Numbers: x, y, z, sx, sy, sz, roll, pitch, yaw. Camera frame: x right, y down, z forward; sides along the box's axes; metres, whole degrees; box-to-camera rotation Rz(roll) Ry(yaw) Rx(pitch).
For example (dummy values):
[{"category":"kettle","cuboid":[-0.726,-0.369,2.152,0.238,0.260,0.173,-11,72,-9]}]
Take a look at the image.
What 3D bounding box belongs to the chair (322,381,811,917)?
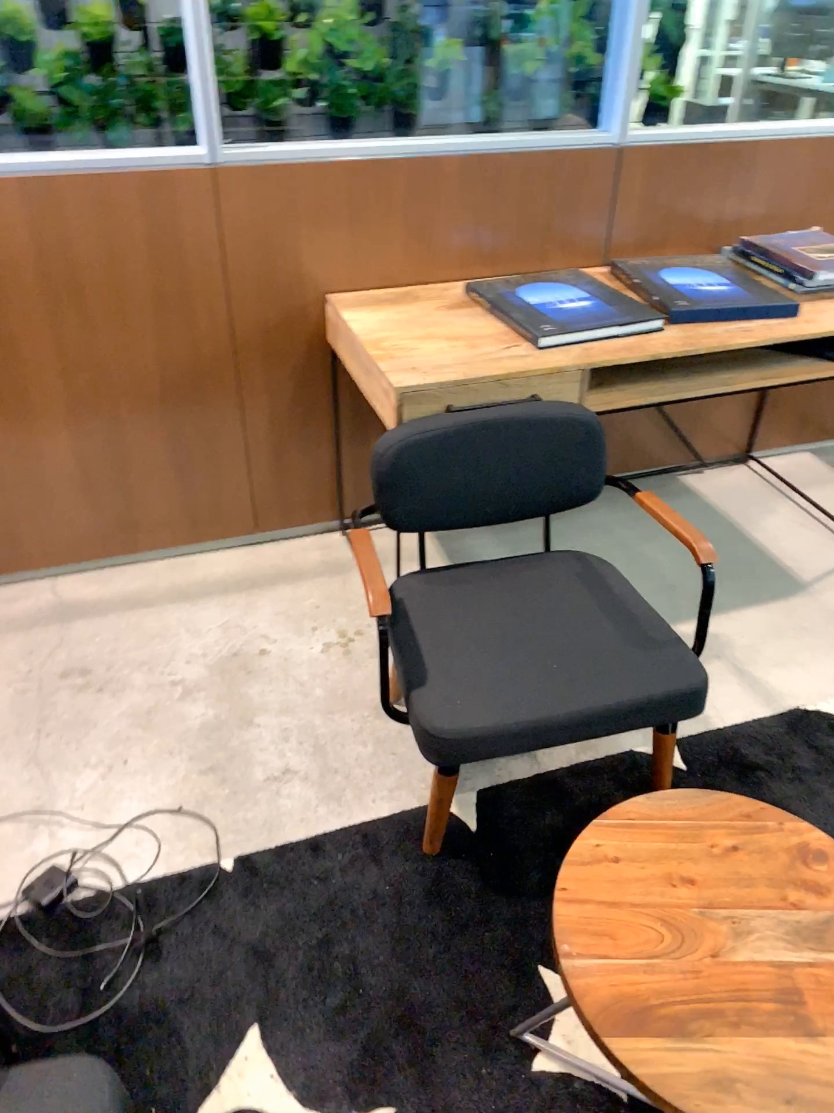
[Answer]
[{"category":"chair","cuboid":[0.238,0.180,1.883,0.750,0.875,0.614,-8,35,-13]}]
